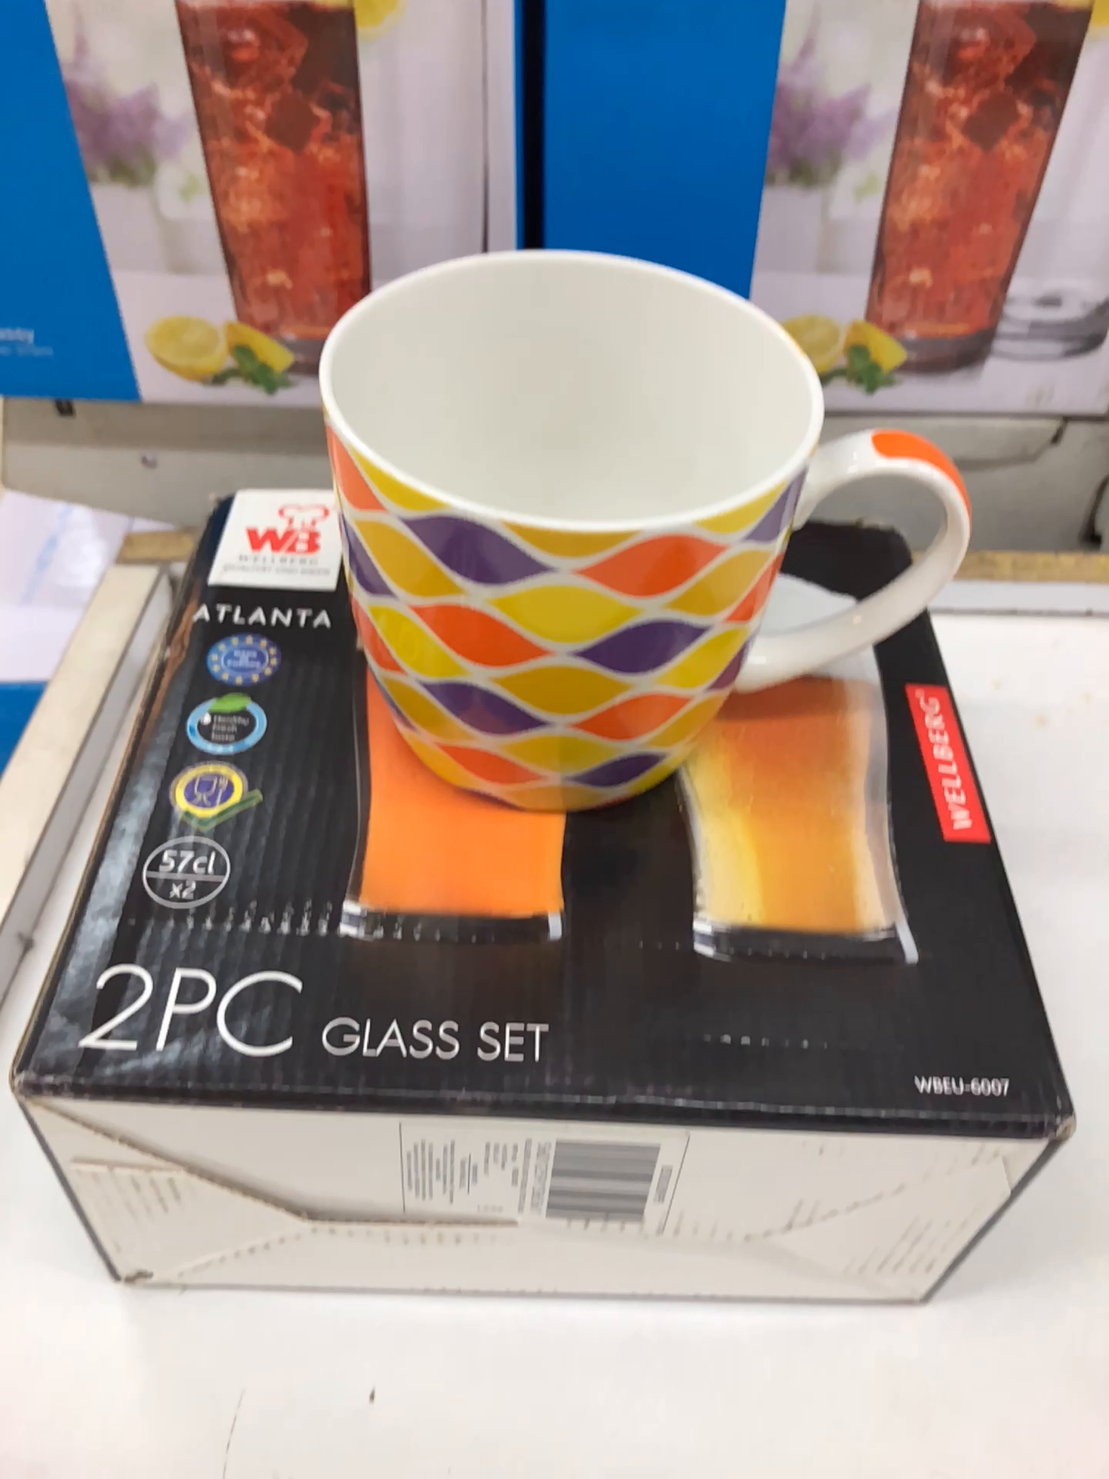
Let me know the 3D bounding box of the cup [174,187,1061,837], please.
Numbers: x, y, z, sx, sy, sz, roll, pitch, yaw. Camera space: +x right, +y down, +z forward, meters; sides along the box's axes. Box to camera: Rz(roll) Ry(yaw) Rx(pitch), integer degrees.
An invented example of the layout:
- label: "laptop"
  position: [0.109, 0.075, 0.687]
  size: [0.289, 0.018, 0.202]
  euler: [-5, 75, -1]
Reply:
- label: "cup"
  position: [0.009, -0.045, 0.245]
  size: [0.130, 0.089, 0.091]
  euler: [0, 45, -1]
